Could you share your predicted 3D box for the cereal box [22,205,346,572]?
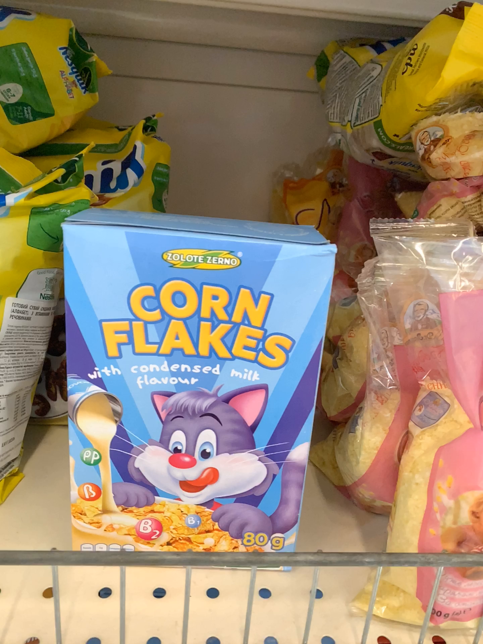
[{"bbox_3d":[-0.027,0.033,0.235,0.120,0.159,0.050,3,18,-5],"label":"cereal box"}]
